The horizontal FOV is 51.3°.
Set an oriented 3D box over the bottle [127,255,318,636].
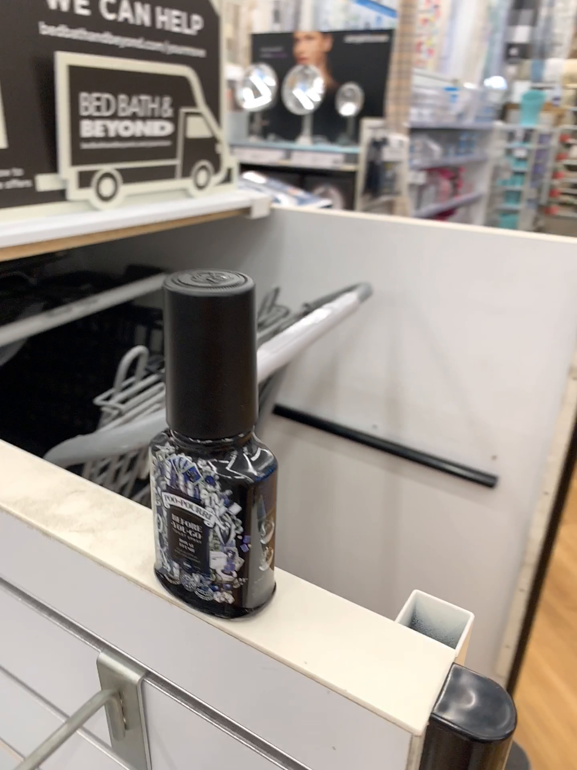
[{"bbox_3d":[-0.023,0.022,0.213,0.050,0.123,0.032,16,27,27],"label":"bottle"}]
